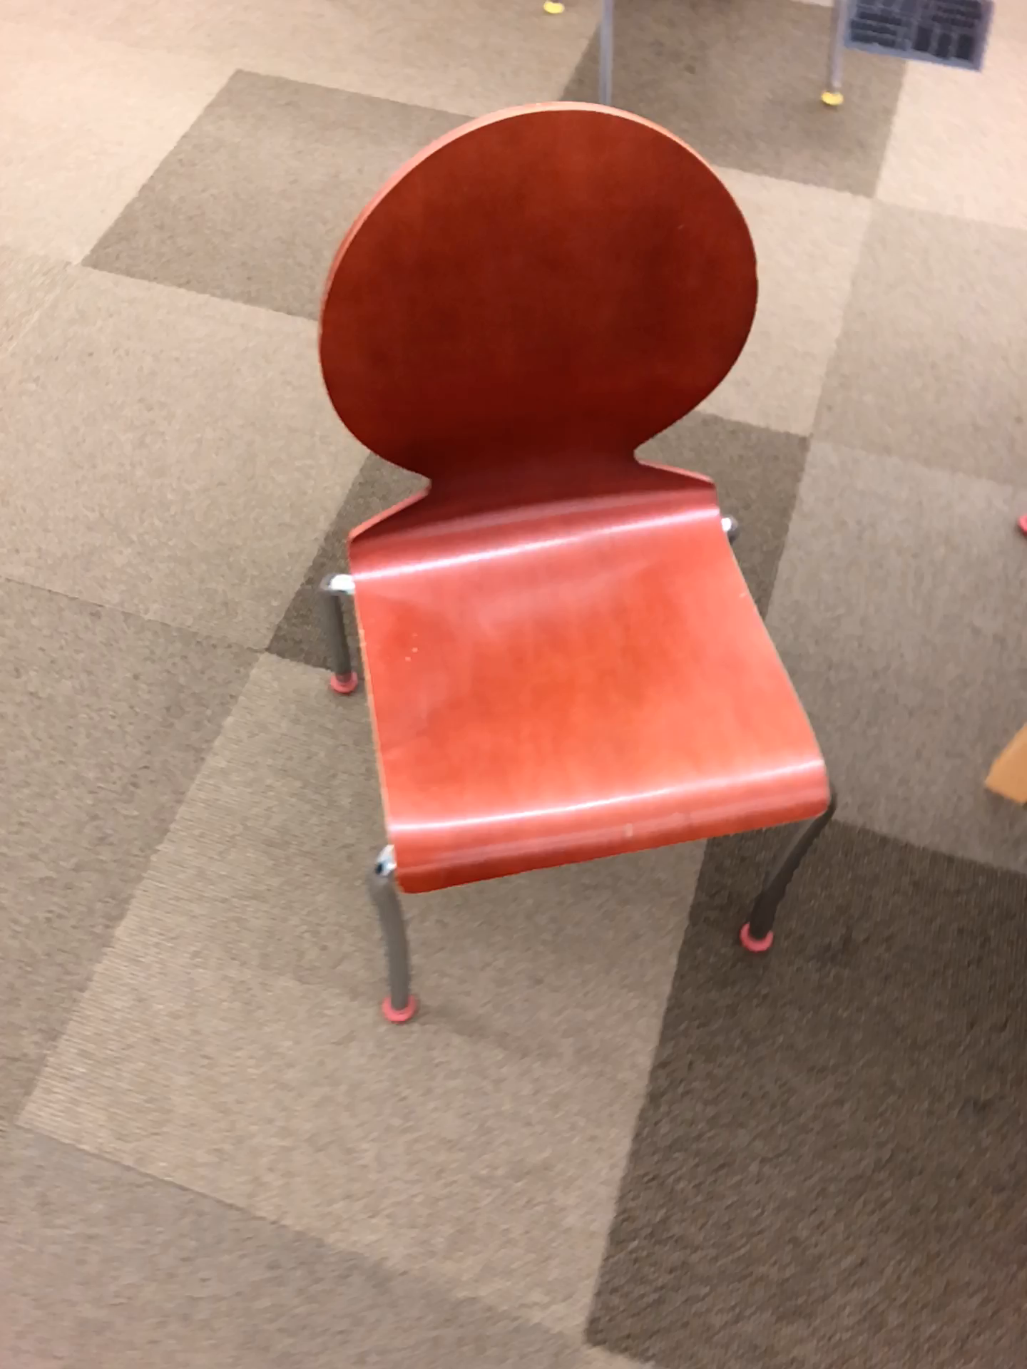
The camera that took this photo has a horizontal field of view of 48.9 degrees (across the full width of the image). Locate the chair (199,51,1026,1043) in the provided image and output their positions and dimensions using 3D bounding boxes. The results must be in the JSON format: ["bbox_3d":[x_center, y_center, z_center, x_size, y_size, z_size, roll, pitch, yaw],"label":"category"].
[{"bbox_3d":[0.049,-0.063,1.029,0.488,0.721,0.488,-9,58,-7],"label":"chair"}]

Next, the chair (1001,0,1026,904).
[{"bbox_3d":[0.890,-0.202,1.114,0.508,0.721,0.508,9,57,5],"label":"chair"}]
